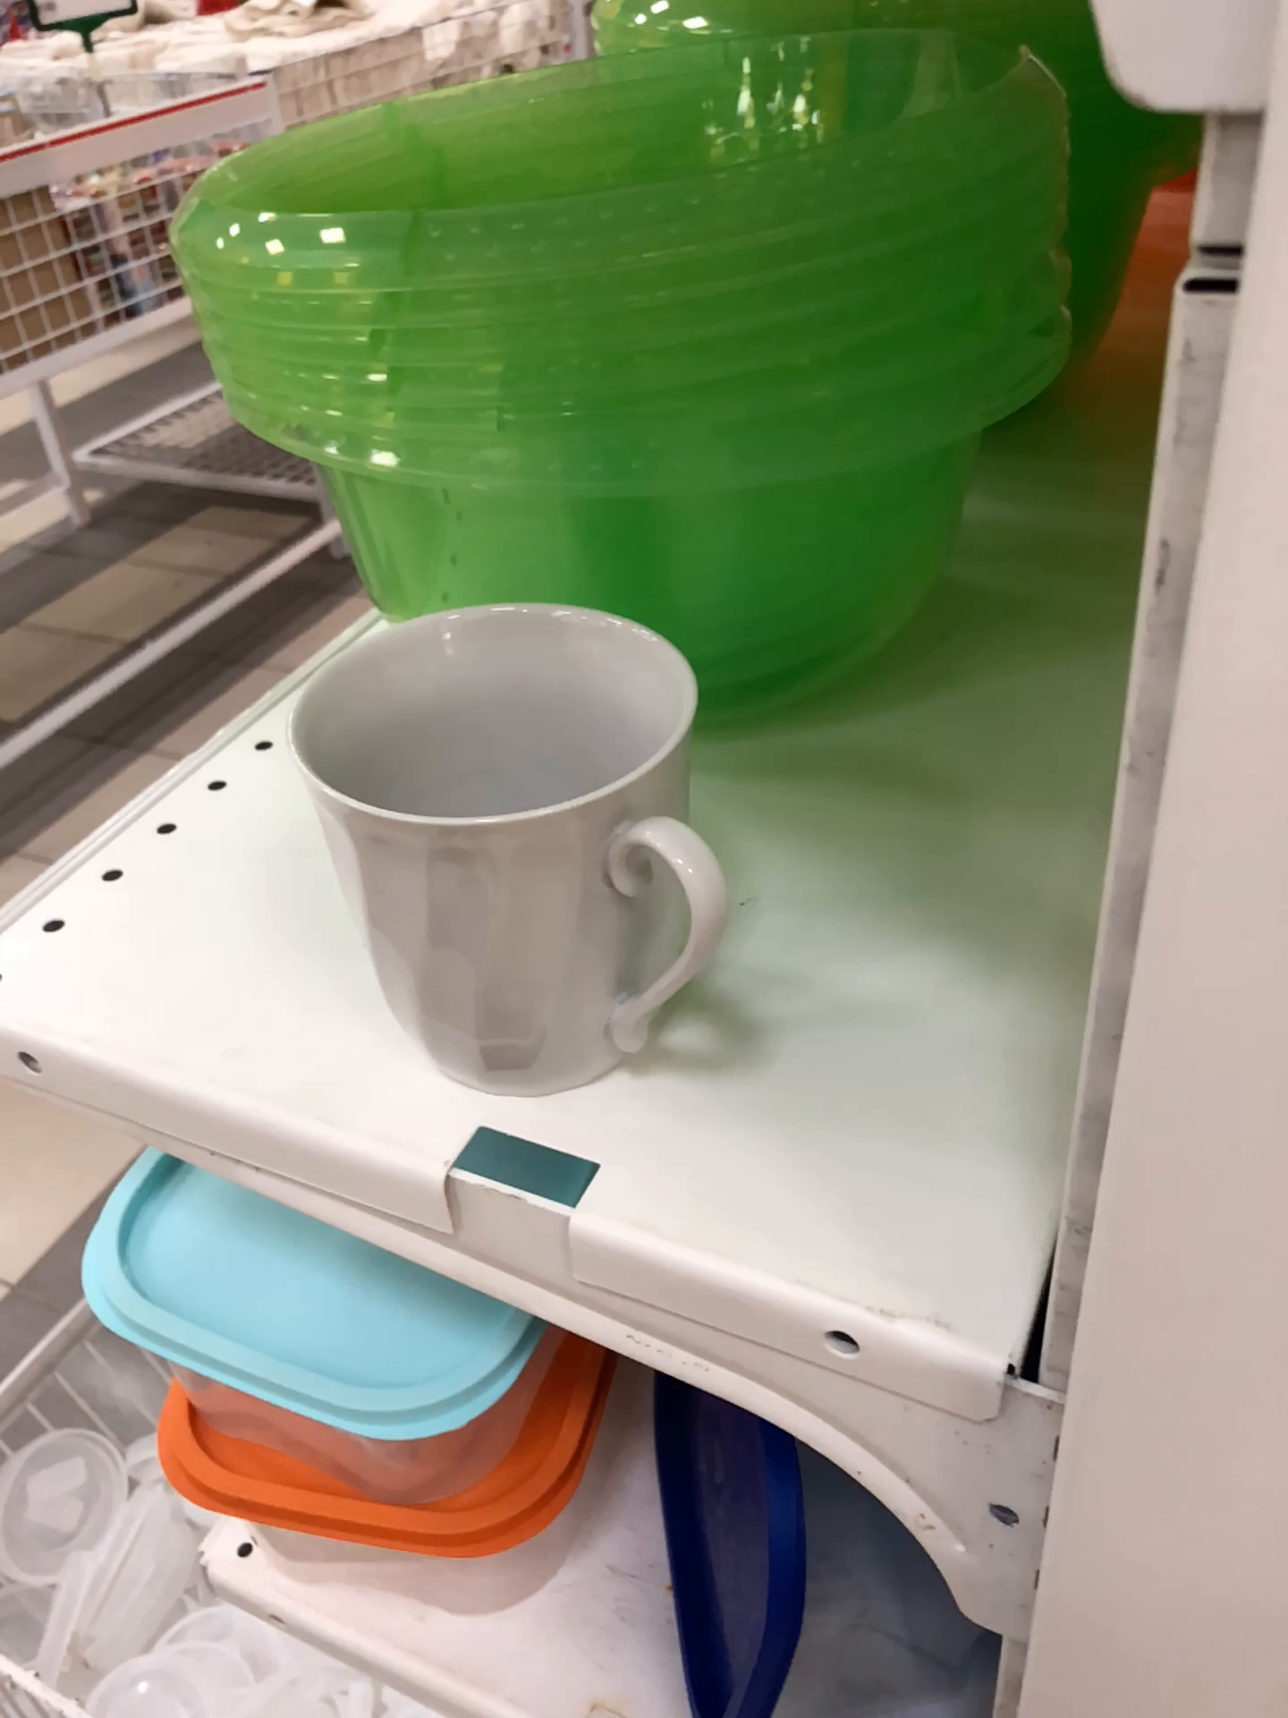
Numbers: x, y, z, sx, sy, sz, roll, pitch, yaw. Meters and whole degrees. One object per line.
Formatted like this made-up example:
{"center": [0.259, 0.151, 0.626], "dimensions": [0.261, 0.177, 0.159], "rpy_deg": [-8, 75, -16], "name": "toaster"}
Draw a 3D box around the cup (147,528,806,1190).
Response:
{"center": [-0.037, -0.009, 0.327], "dimensions": [0.090, 0.080, 0.119], "rpy_deg": [-28, 41, -28], "name": "cup"}
